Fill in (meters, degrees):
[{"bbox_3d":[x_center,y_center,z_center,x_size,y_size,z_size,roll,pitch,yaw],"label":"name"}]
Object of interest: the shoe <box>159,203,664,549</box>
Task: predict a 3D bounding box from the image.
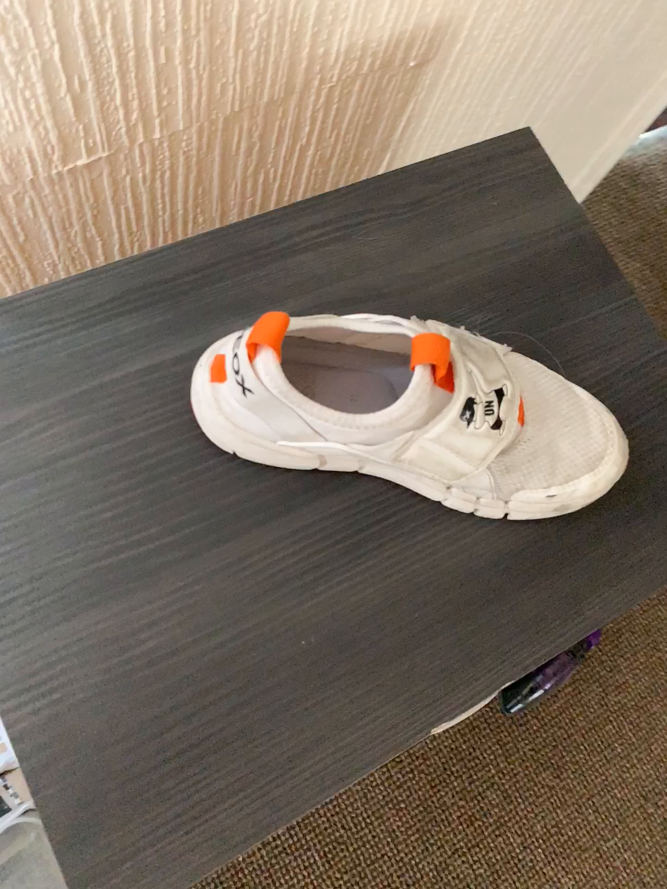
[{"bbox_3d":[0.039,-0.026,0.336,0.222,0.070,0.100,14,71,-8],"label":"shoe"}]
